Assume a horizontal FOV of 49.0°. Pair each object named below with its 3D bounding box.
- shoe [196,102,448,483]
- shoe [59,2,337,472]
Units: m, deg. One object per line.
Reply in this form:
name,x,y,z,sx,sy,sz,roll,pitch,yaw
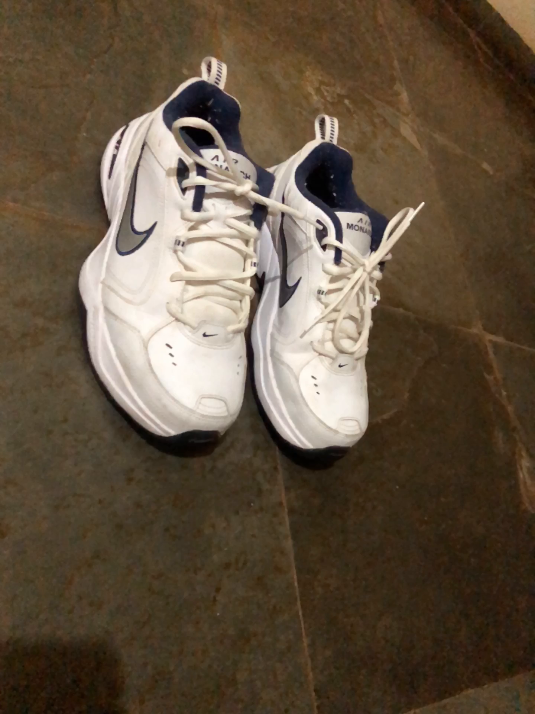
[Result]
shoe,0.035,-0.050,0.547,0.120,0.149,0.301,11,61,-37
shoe,-0.070,-0.079,0.450,0.121,0.149,0.301,9,62,-38
